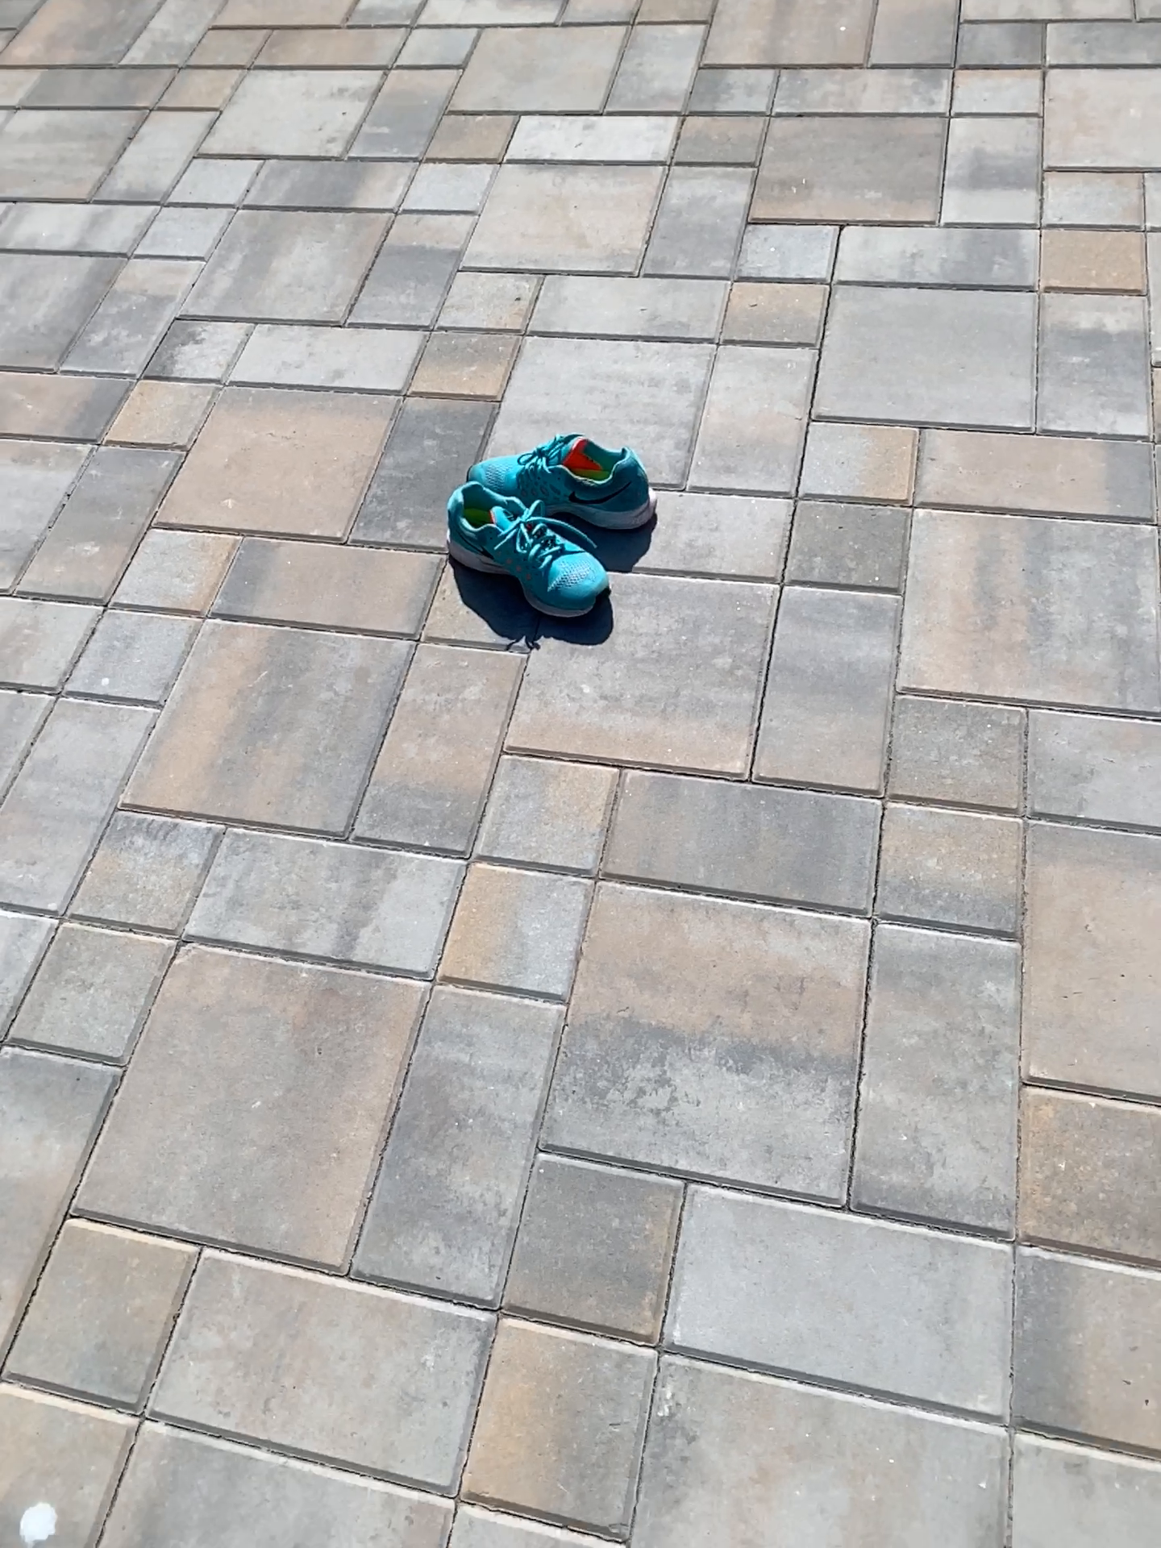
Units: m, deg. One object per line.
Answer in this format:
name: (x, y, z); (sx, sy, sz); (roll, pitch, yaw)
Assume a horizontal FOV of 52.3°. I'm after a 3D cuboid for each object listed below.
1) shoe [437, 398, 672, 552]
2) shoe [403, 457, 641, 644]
shoe: (-0.030, -0.390, 1.538); (0.270, 0.100, 0.130); (11, 60, 14)
shoe: (-0.076, -0.293, 1.531); (0.271, 0.100, 0.130); (27, 65, 28)
